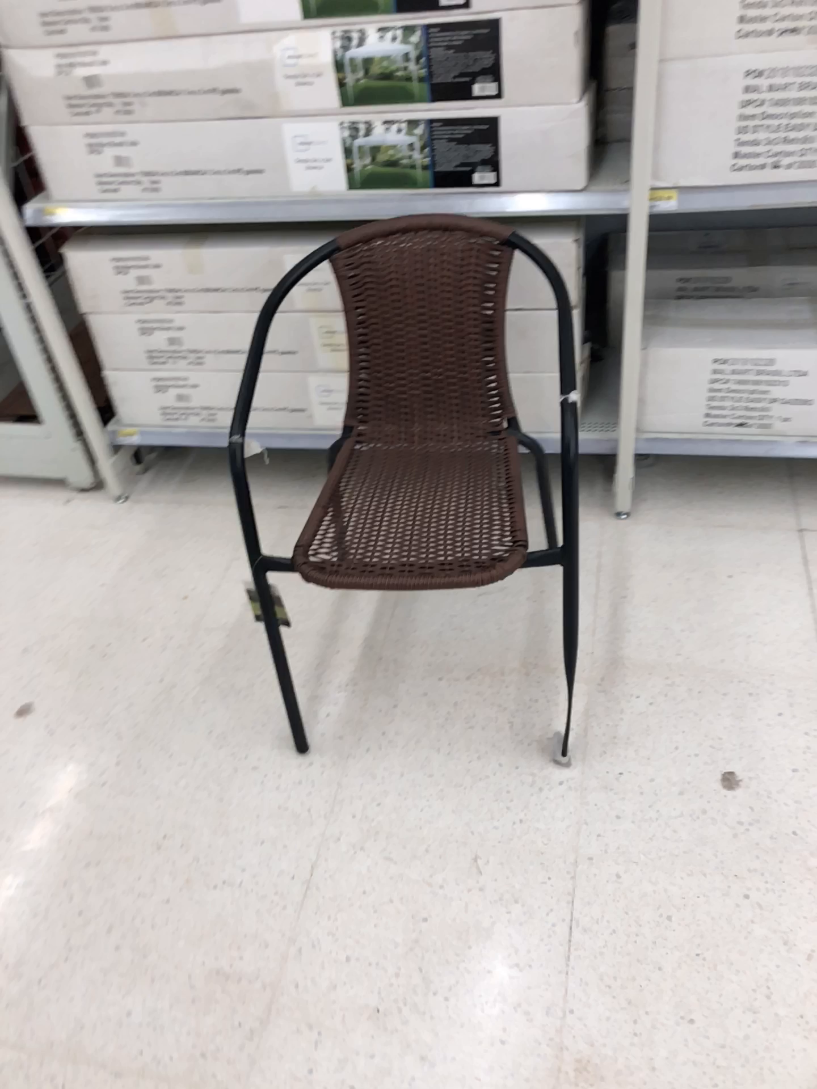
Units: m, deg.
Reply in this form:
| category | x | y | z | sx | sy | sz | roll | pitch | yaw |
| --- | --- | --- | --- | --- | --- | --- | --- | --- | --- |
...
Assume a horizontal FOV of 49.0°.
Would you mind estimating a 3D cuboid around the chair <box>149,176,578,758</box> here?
| category | x | y | z | sx | sy | sz | roll | pitch | yaw |
| --- | --- | --- | --- | --- | --- | --- | --- | --- | --- |
| chair | 0.004 | -0.105 | 1.417 | 0.480 | 0.714 | 0.534 | -3 | 40 | 8 |
